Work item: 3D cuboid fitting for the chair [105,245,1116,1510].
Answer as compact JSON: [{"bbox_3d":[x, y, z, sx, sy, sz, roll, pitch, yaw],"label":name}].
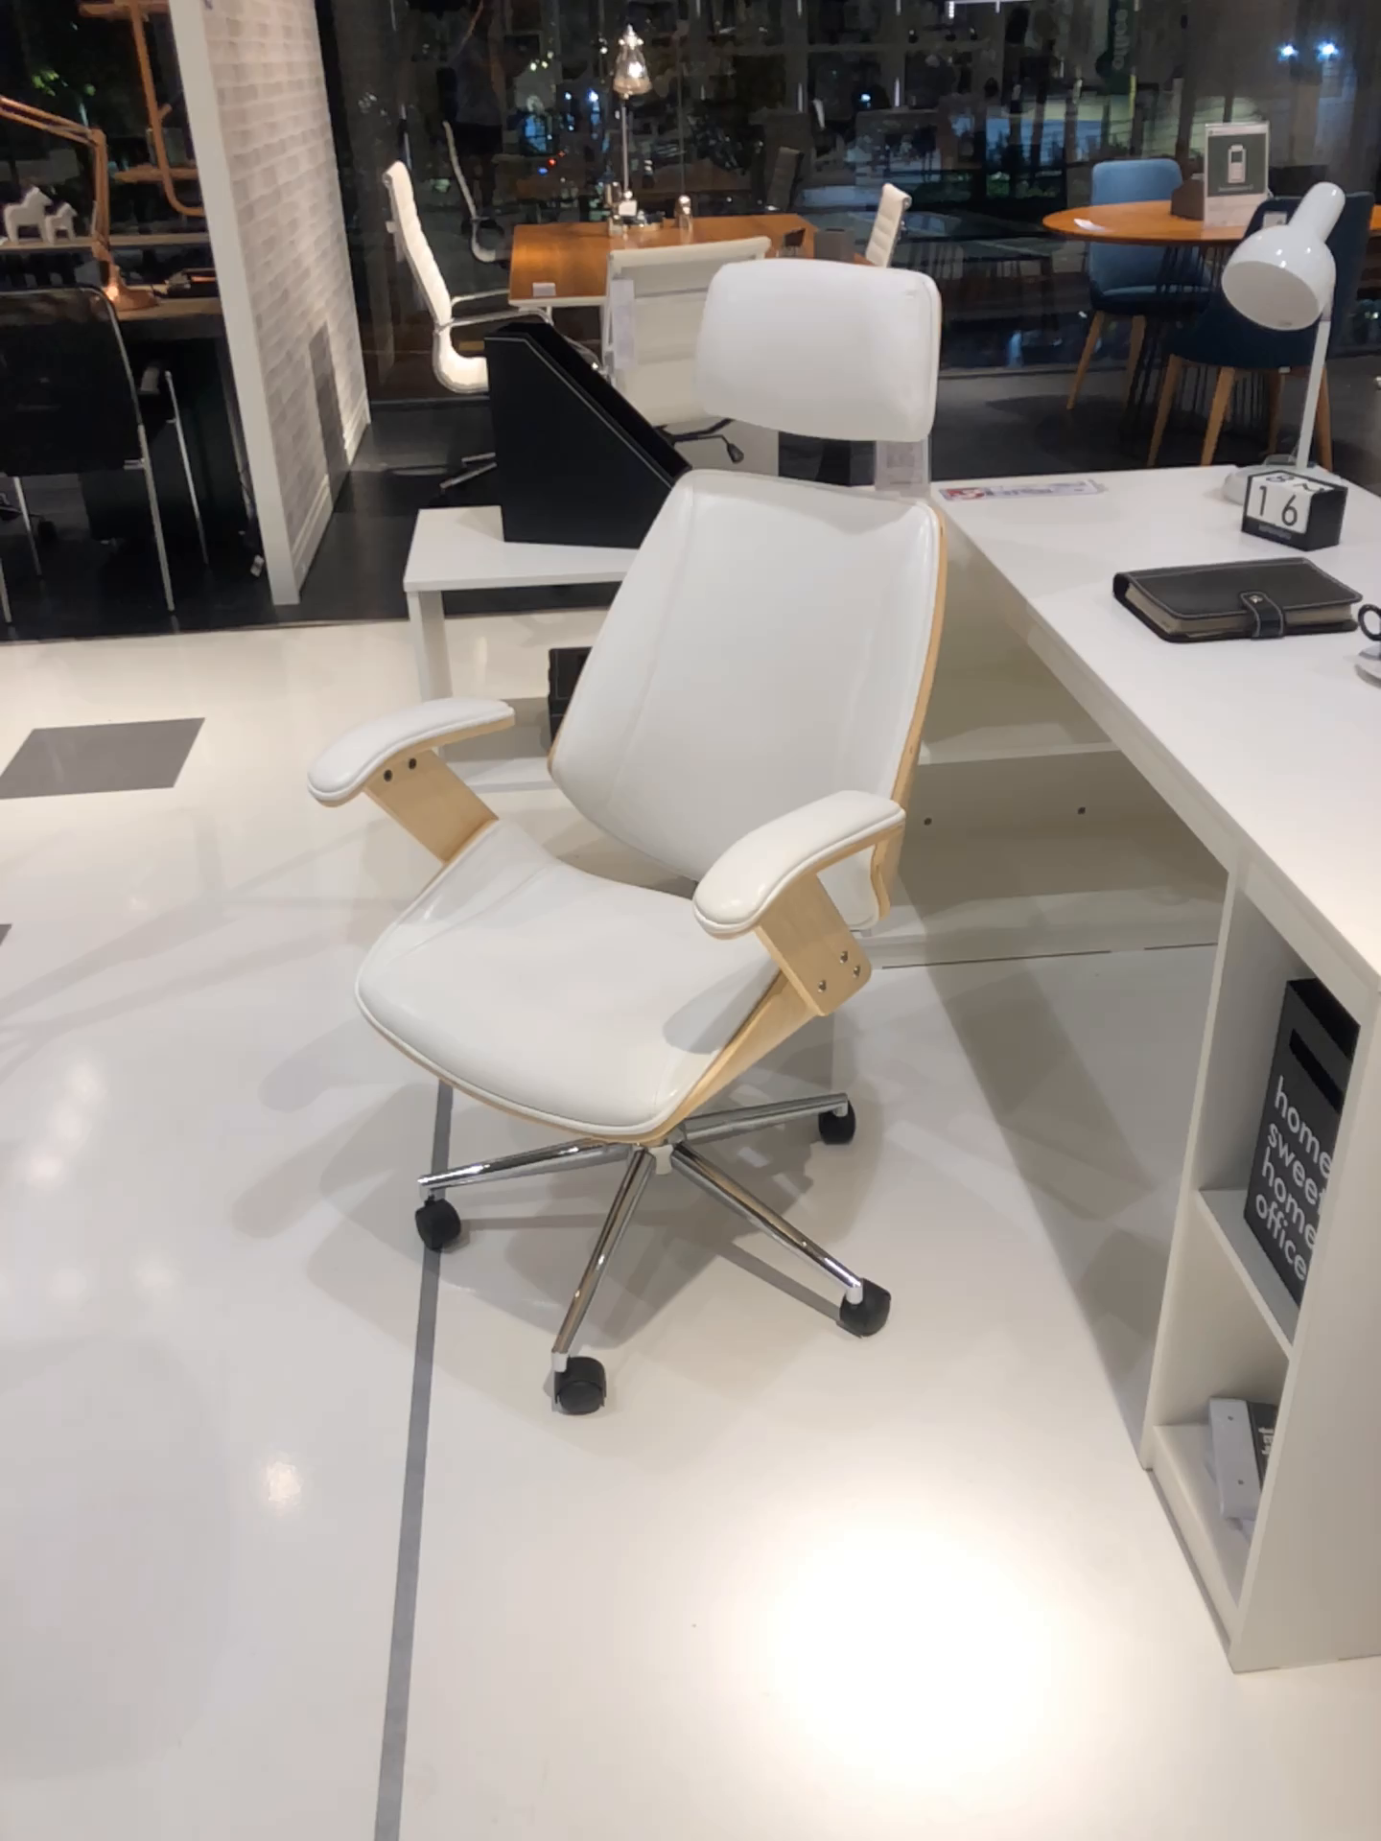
[{"bbox_3d":[-0.039,-0.114,1.711,0.672,1.102,0.704,19,36,34],"label":"chair"}]
